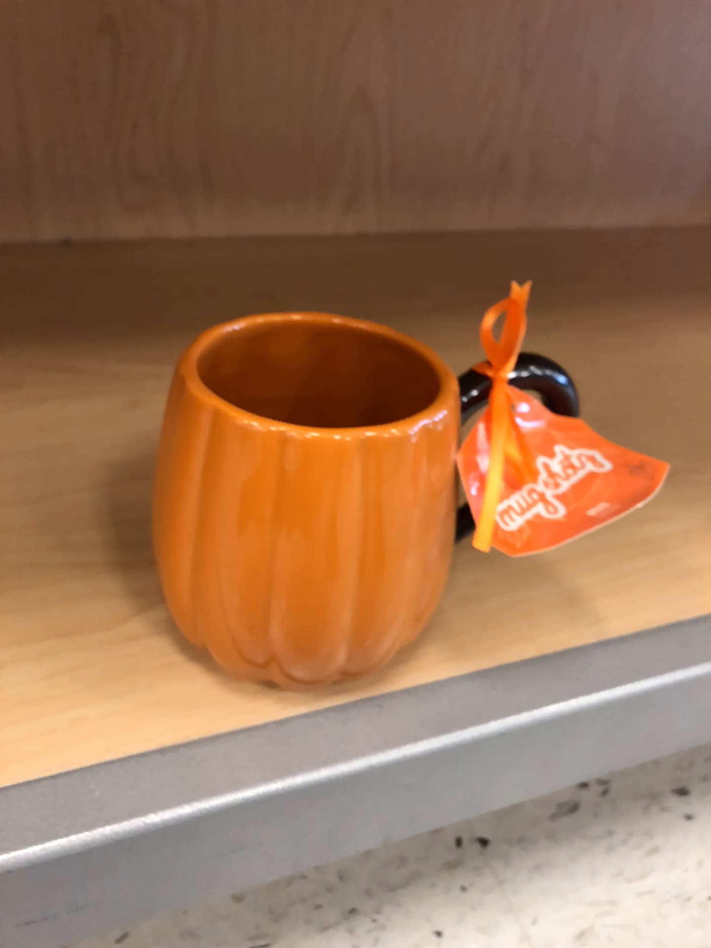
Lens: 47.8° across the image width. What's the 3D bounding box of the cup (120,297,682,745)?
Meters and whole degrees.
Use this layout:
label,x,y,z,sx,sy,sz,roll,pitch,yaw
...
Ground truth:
label,x,y,z,sx,sy,sz,roll,pitch,yaw
cup,0.007,0.006,0.253,0.140,0.089,0.081,-8,37,-21
